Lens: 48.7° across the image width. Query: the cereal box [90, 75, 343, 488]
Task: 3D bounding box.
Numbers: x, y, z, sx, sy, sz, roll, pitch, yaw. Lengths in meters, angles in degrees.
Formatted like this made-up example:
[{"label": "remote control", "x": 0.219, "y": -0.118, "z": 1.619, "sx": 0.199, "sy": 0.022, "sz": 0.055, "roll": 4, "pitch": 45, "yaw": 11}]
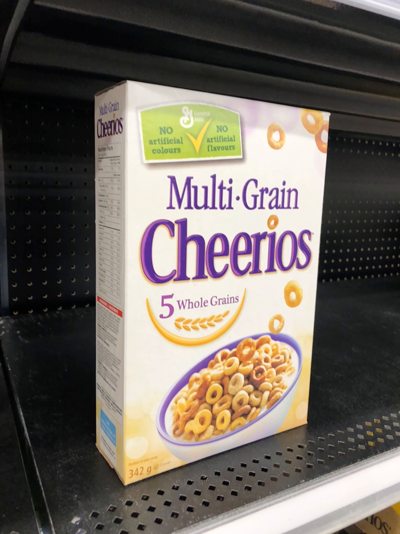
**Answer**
[{"label": "cereal box", "x": 0.015, "y": 0.008, "z": 0.384, "sx": 0.200, "sy": 0.289, "sz": 0.070, "roll": -4, "pitch": 11, "yaw": -30}]
